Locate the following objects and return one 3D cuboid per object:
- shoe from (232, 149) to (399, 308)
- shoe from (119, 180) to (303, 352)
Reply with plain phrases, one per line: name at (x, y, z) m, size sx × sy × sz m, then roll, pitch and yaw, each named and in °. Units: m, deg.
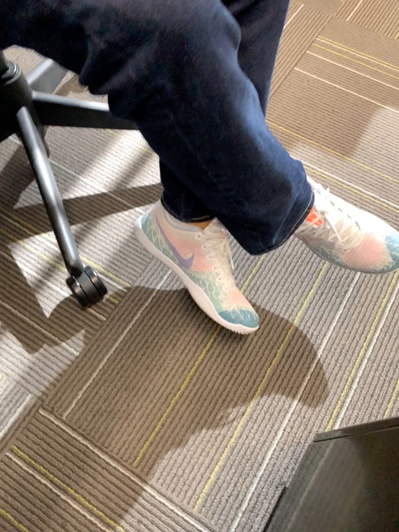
shoe at (0.207, -0.070, 0.678) m, size 0.265 × 0.108 × 0.113 m, roll 36°, pitch 29°, yaw 9°
shoe at (0.012, -0.010, 0.700) m, size 0.286 × 0.109 × 0.115 m, roll 40°, pitch 41°, yaw 17°
